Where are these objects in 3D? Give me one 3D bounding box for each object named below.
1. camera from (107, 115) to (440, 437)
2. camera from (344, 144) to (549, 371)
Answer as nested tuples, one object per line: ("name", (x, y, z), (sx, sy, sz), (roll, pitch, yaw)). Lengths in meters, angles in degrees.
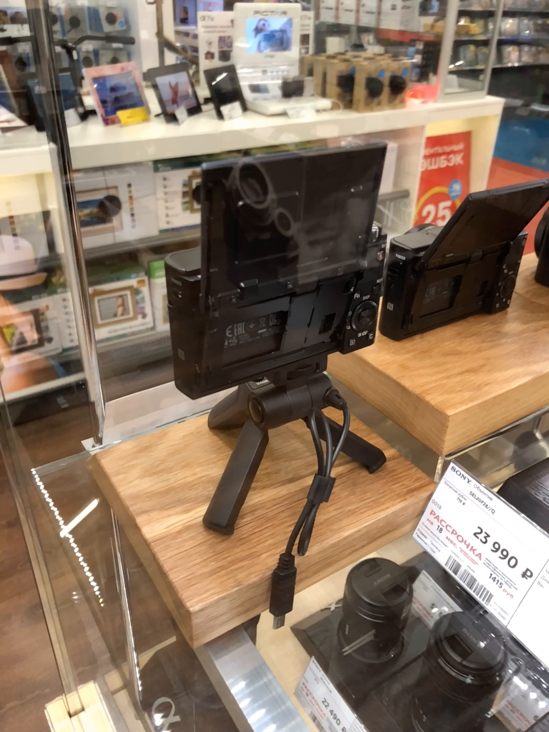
("camera", (-0.001, -0.043, 0.253), (0.109, 0.097, 0.063), (-17, 37, -28))
("camera", (0.110, -0.069, 0.362), (0.109, 0.097, 0.070), (-17, 37, -28))
